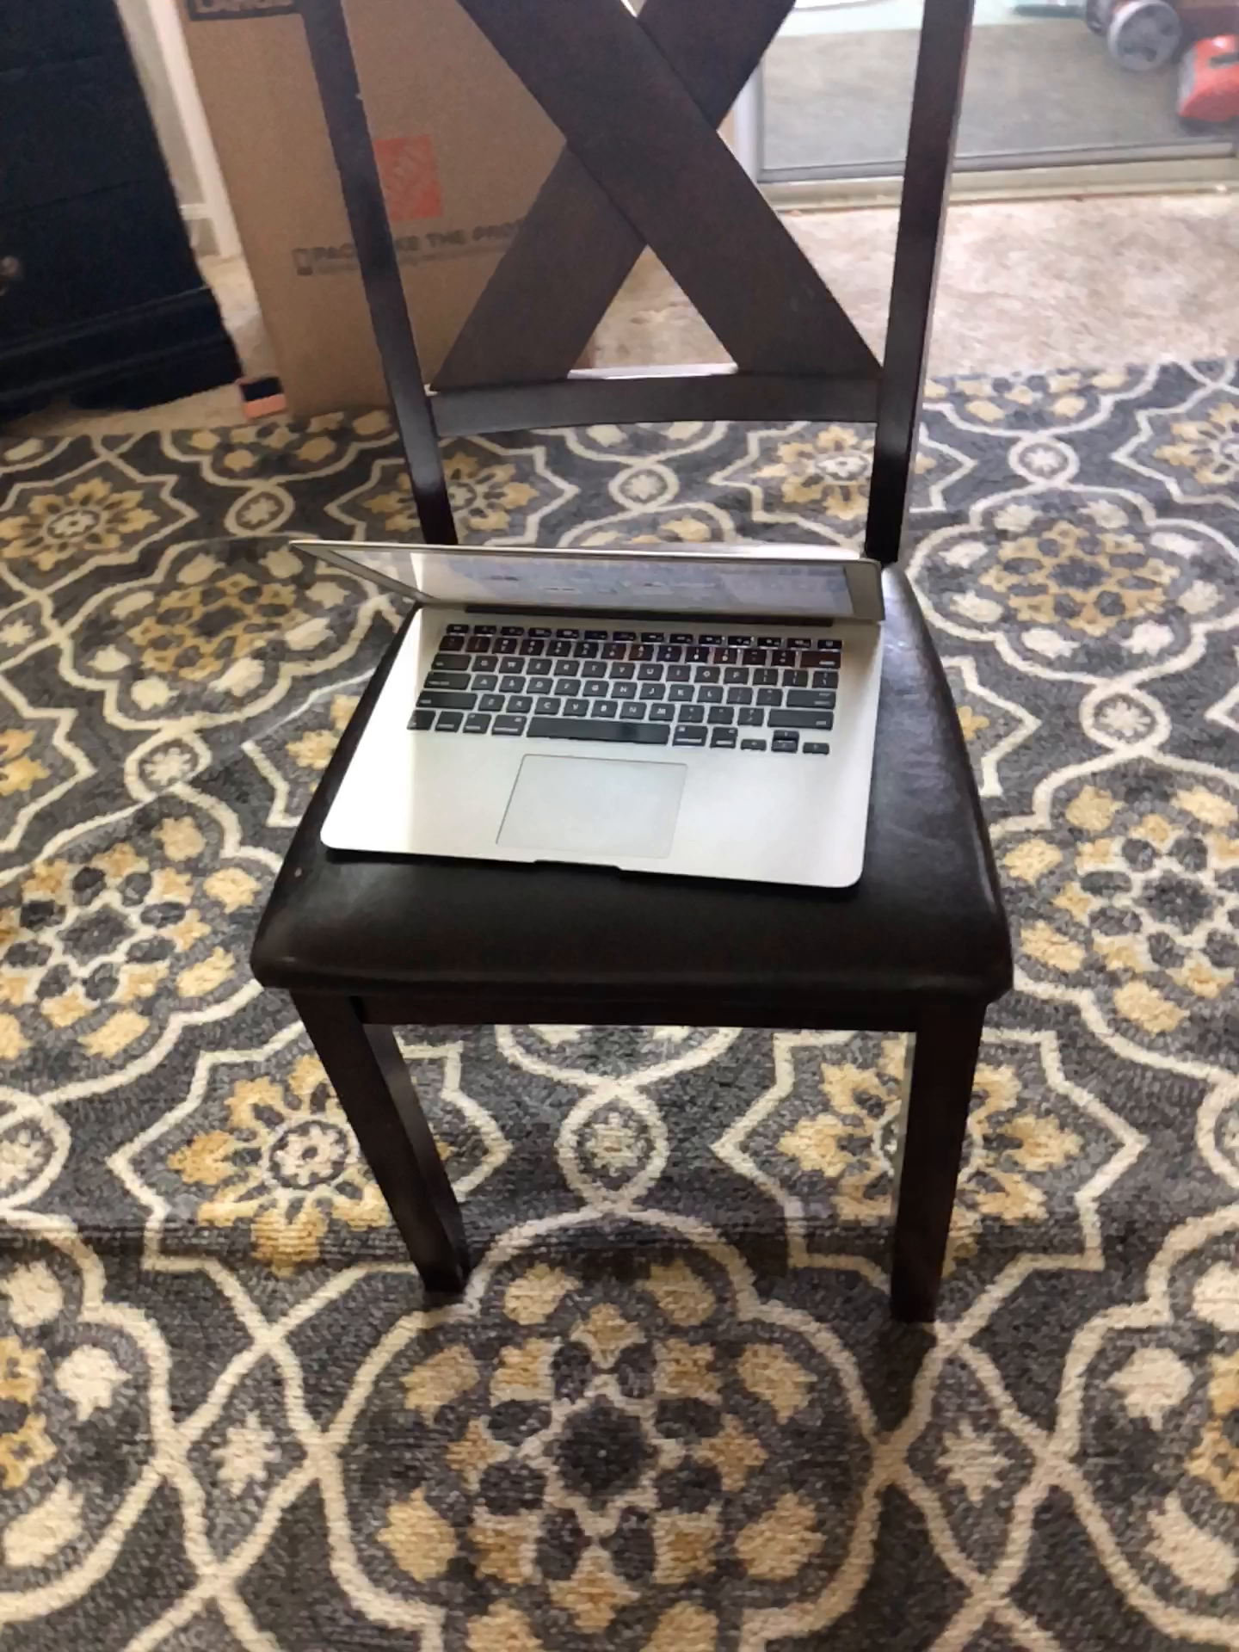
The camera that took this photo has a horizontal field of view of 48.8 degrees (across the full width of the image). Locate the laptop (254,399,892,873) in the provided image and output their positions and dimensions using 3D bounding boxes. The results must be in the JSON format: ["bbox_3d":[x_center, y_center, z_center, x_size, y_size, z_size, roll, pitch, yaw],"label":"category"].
[{"bbox_3d":[-0.009,-0.118,0.787,0.304,0.154,0.216,5,47,11],"label":"laptop"}]
